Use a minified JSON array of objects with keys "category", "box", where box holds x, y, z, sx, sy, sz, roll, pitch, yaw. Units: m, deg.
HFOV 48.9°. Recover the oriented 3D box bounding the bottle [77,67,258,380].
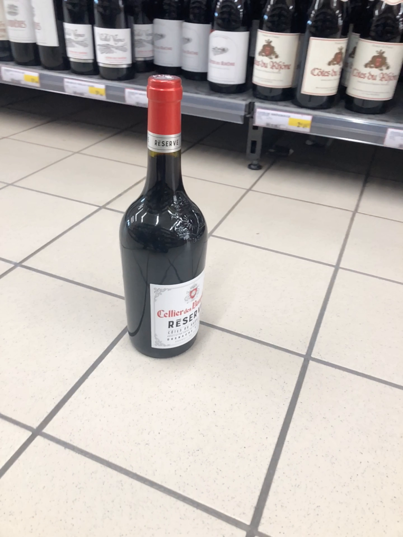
[{"category":"bottle","box":[-0.034,-0.041,0.437,0.111,0.268,0.100,-24,42,-36]}]
